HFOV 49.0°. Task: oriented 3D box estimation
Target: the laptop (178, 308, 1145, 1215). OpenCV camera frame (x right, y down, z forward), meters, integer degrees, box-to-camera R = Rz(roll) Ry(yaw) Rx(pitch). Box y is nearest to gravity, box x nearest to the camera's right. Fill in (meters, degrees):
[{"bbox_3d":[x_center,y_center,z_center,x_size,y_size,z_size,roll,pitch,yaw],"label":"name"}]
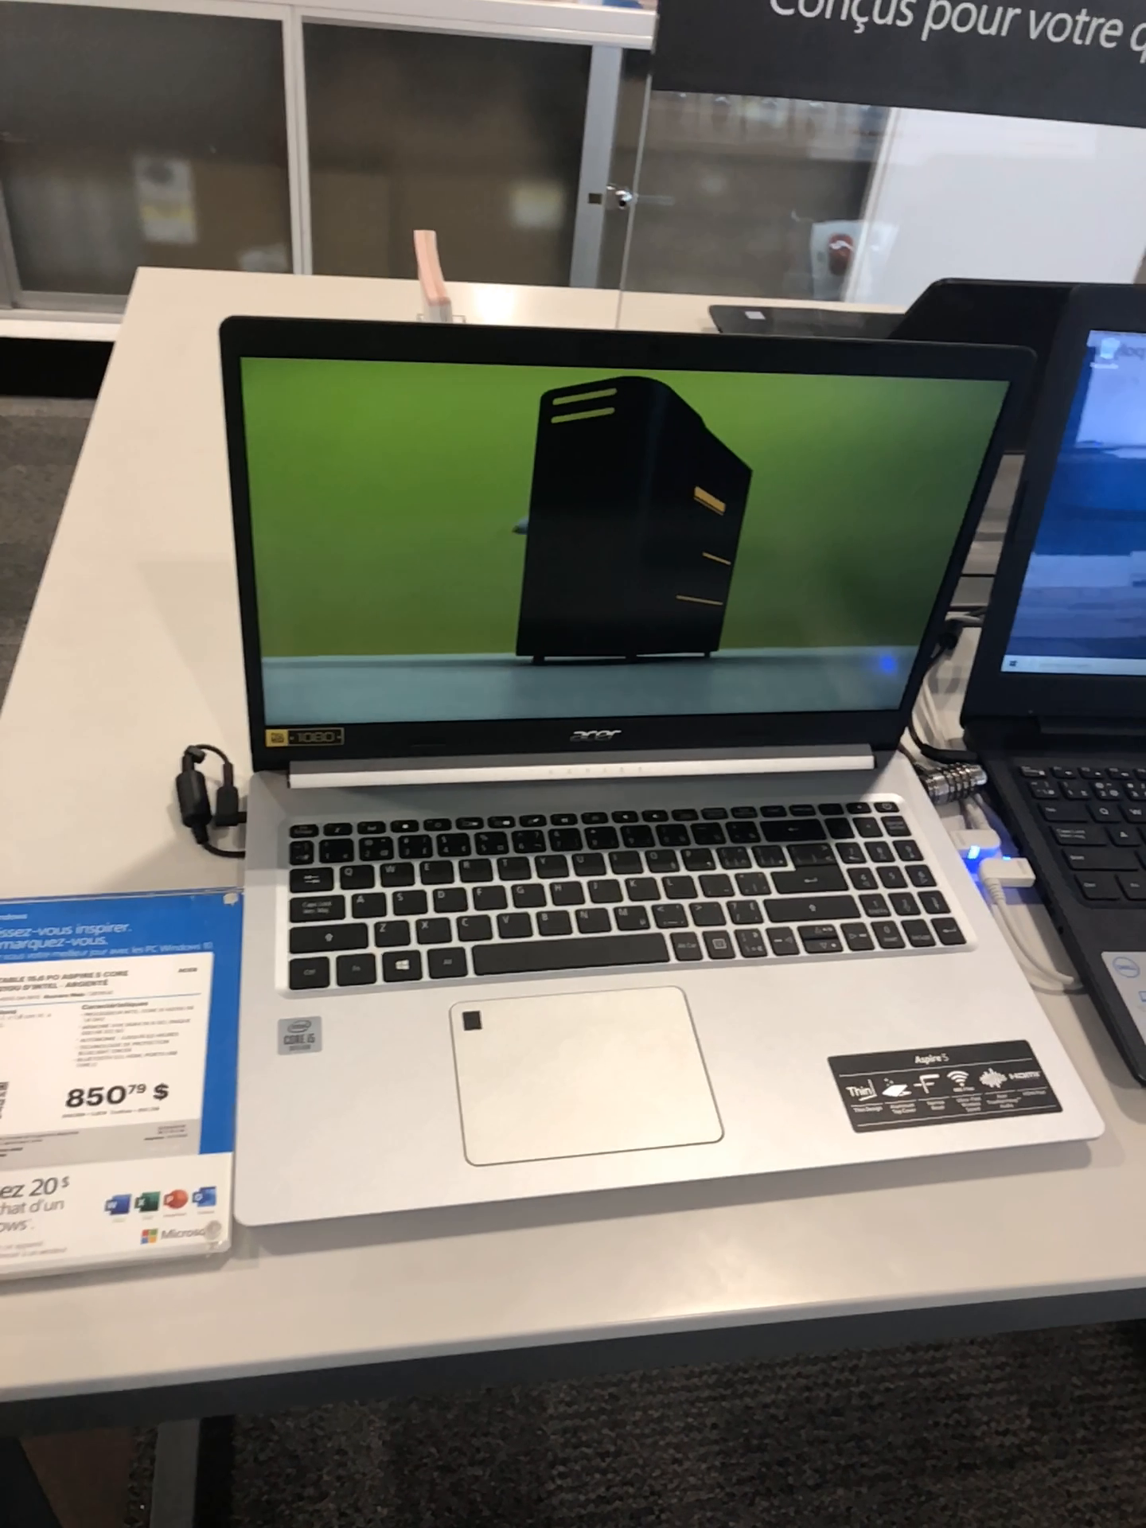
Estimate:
[{"bbox_3d":[0.037,-0.015,0.524,0.349,0.229,0.268,-2,43,-10],"label":"laptop"}]
